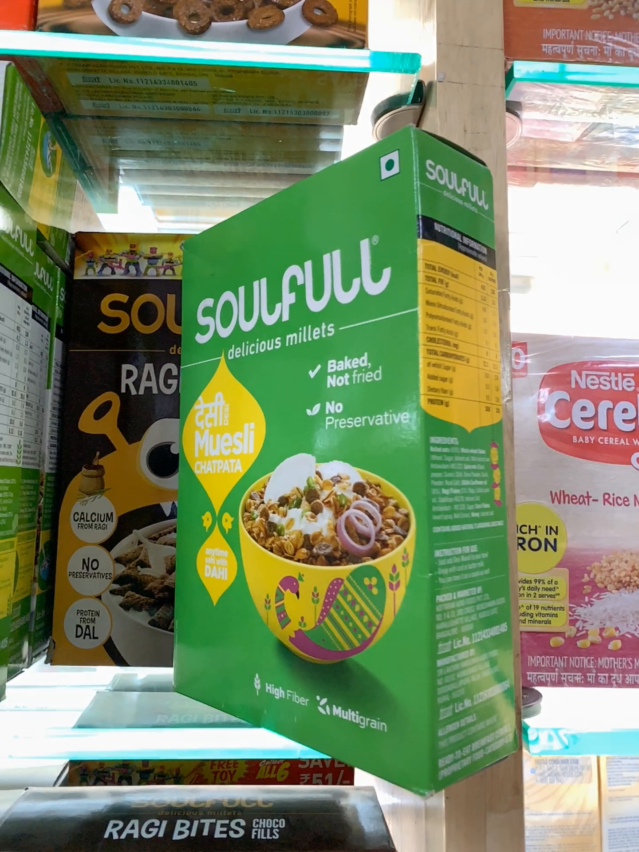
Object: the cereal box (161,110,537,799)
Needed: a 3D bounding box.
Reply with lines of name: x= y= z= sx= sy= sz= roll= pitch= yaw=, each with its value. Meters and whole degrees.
cereal box: x=0.002 y=0.010 z=0.290 sx=0.060 sy=0.221 sz=0.160 roll=7 pitch=-9 yaw=-43
